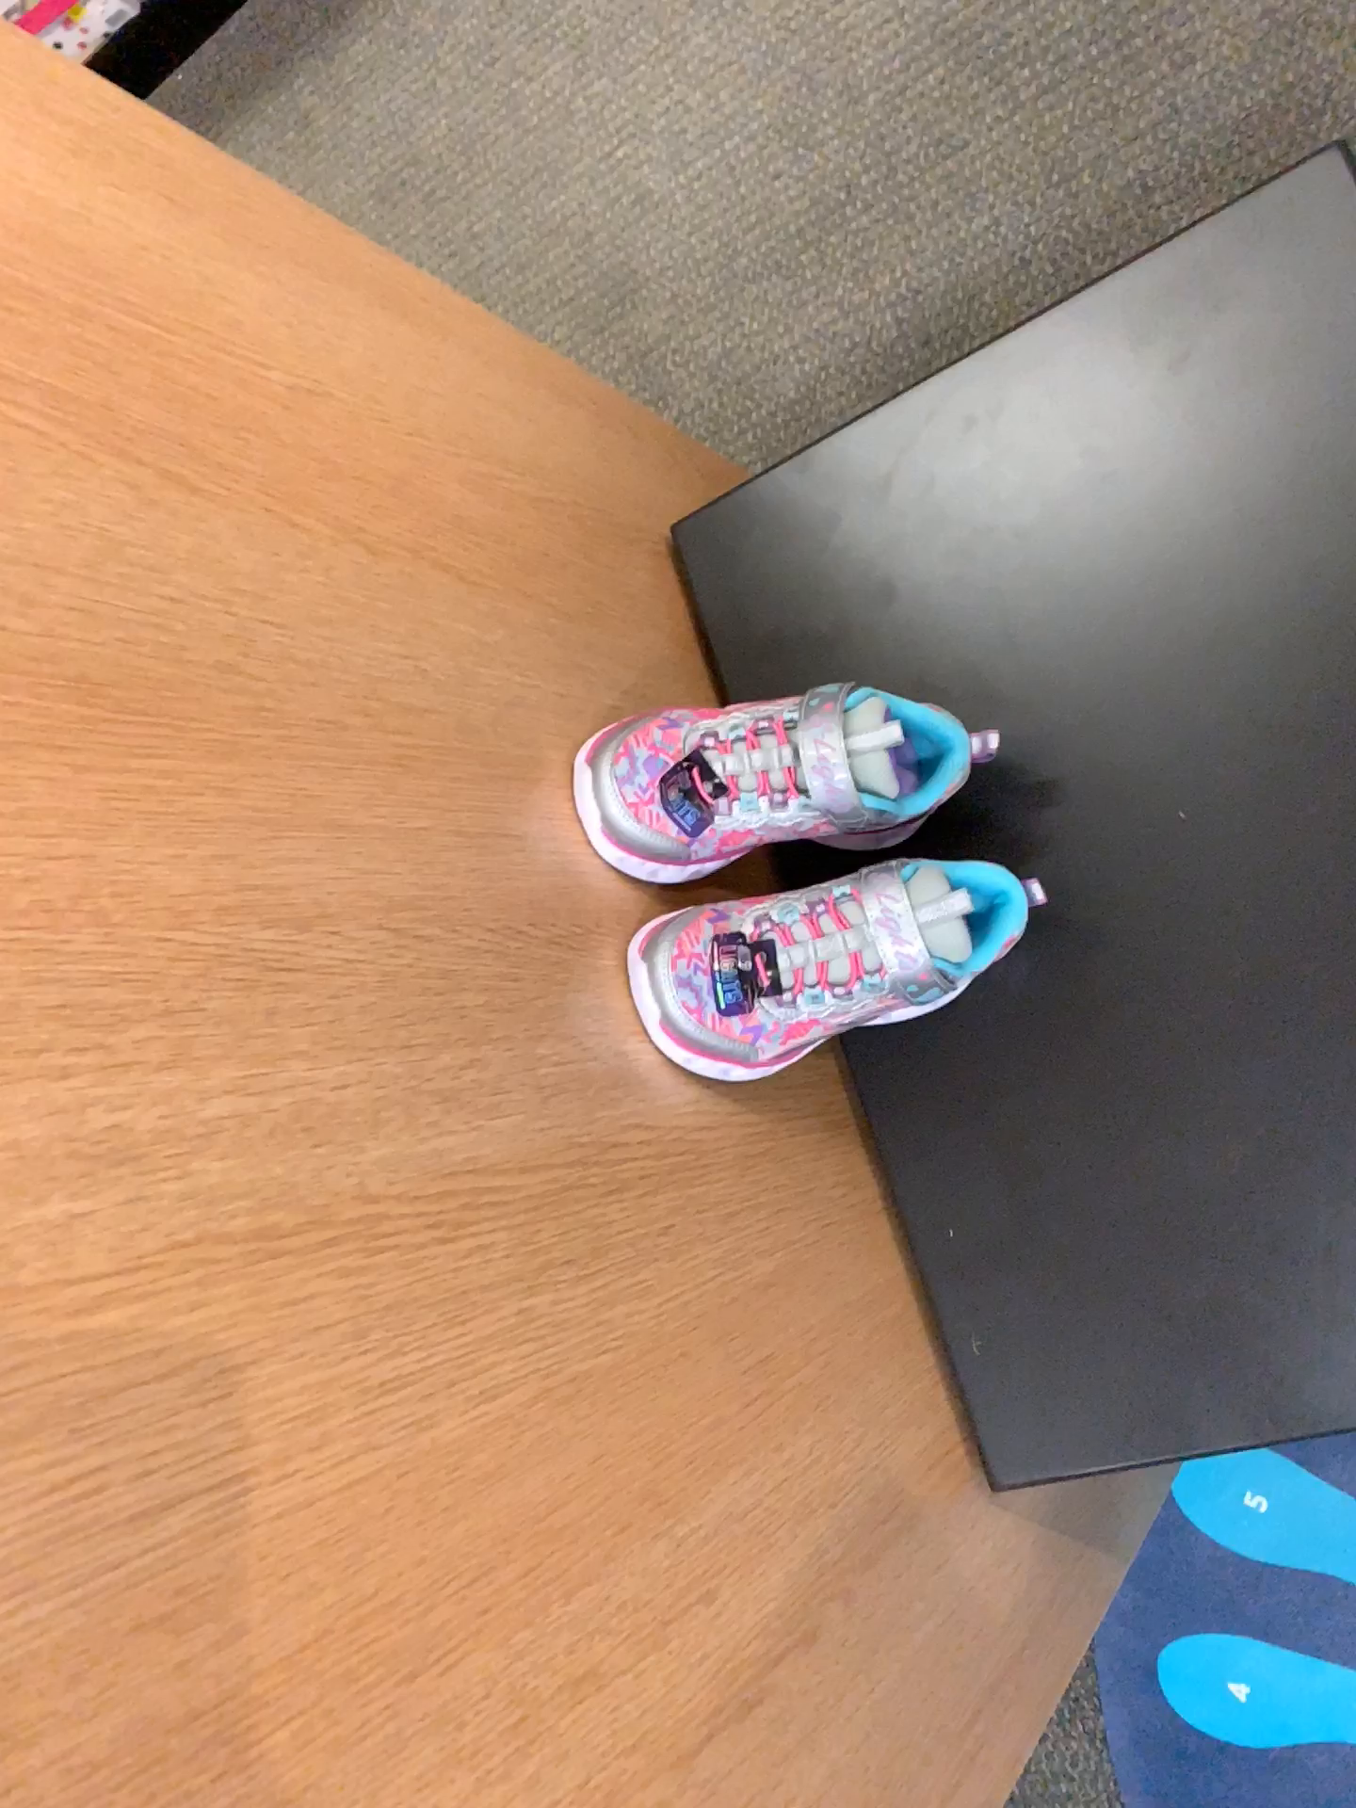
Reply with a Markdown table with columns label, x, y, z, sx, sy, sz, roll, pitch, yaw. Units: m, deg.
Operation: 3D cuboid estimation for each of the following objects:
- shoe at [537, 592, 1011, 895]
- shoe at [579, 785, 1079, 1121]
| label | x | y | z | sx | sy | sz | roll | pitch | yaw |
| --- | --- | --- | --- | --- | --- | --- | --- | --- | --- |
| shoe | 0.041 | -0.074 | 0.649 | 0.100 | 0.180 | 0.090 | 140 | 117 | -66 |
| shoe | 0.064 | 0.022 | 0.624 | 0.100 | 0.180 | 0.090 | 134 | 121 | -65 |
